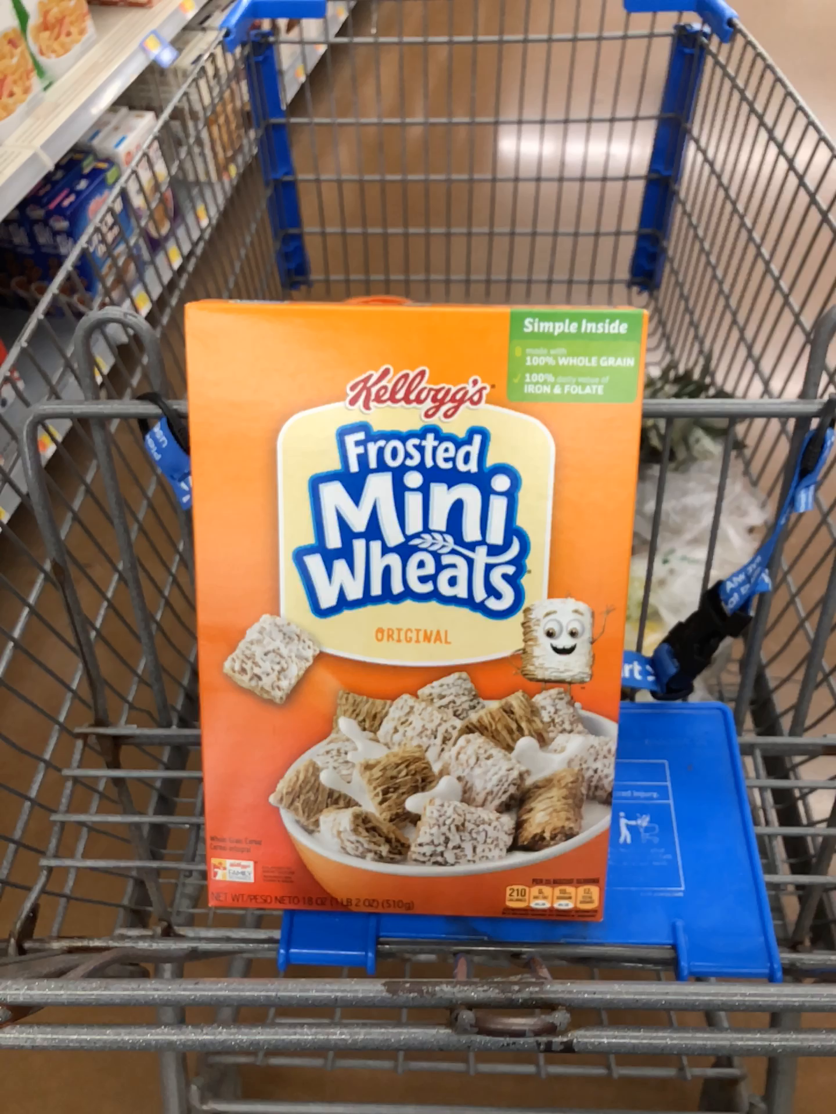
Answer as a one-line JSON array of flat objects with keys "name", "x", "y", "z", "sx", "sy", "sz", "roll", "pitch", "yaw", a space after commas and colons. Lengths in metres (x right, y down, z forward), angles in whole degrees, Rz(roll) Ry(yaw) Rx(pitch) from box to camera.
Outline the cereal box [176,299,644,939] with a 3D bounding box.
[{"name": "cereal box", "x": -0.005, "y": 0.030, "z": 0.443, "sx": 0.190, "sy": 0.290, "sz": 0.070, "roll": 1, "pitch": 12, "yaw": 0}]
